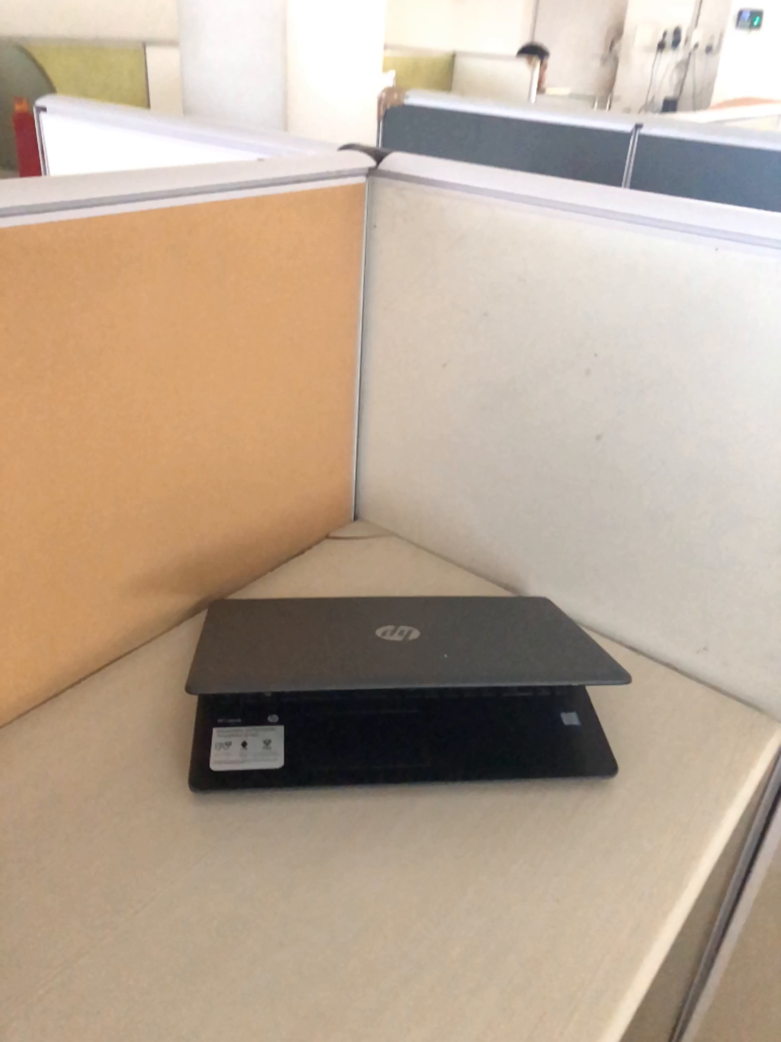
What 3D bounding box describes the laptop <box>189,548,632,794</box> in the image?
[{"bbox_3d":[0.006,0.127,0.810,0.361,0.074,0.239,0,34,-7],"label":"laptop"}]
